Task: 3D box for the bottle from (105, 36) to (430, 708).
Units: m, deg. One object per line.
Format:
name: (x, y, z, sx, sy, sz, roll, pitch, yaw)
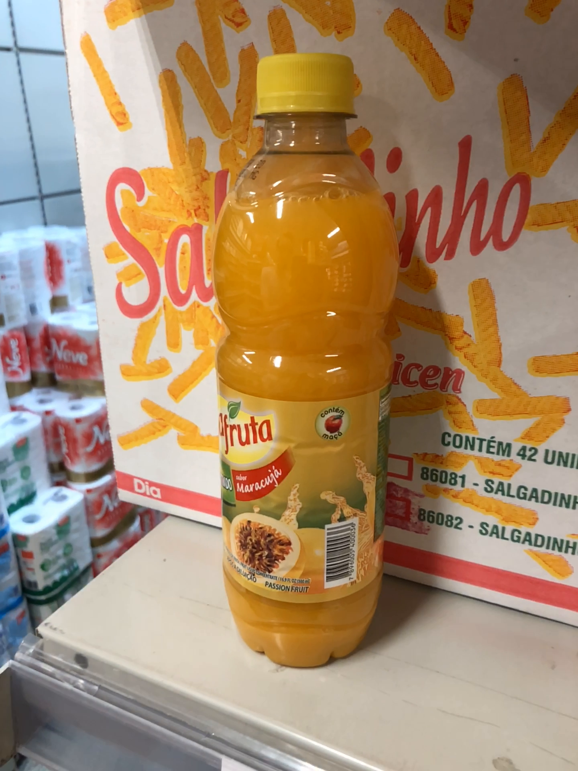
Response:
bottle: (-0.003, -0.002, 0.220, 0.070, 0.199, 0.060, 17, 29, 38)
